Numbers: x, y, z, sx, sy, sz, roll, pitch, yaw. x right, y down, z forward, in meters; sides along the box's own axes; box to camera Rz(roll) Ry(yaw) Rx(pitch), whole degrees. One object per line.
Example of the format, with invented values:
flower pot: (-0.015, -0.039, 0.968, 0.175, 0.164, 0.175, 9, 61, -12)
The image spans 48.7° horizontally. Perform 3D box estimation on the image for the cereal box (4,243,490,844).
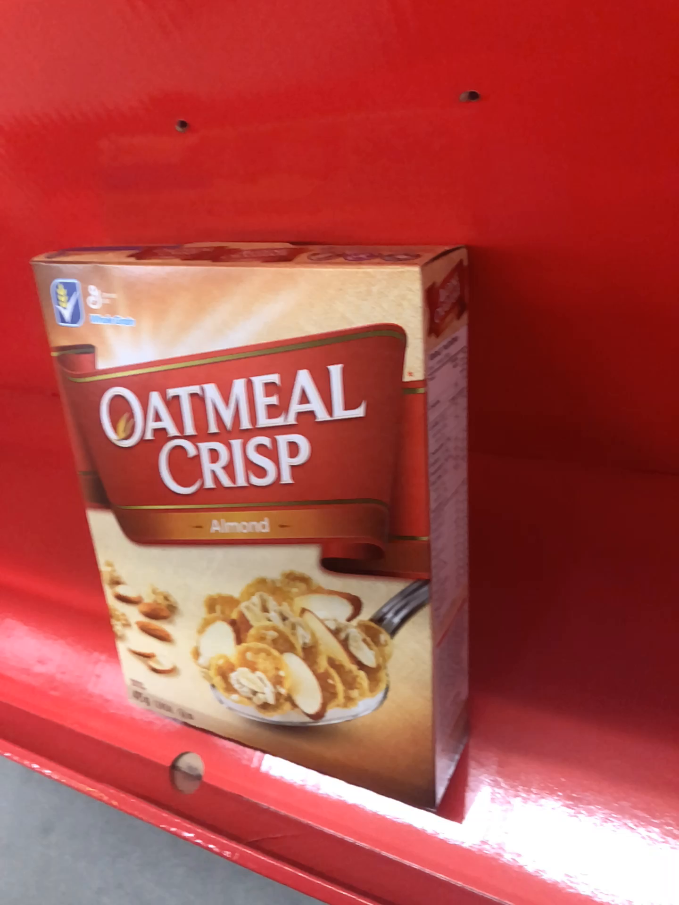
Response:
cereal box: (-0.040, 0.037, 0.383, 0.211, 0.269, 0.070, 8, 24, 25)
